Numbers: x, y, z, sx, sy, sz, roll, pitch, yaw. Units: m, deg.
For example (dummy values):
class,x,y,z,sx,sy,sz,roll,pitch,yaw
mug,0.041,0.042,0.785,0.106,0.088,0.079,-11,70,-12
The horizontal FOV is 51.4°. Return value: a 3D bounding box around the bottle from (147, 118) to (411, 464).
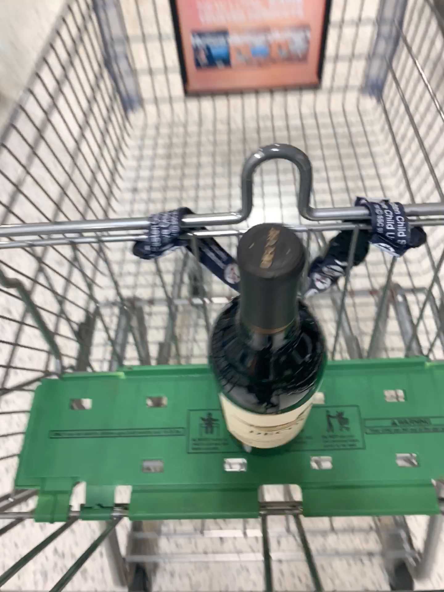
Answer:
class,x,y,z,sx,sy,sz,roll,pitch,yaw
bottle,0.029,0.036,0.325,0.090,0.298,0.090,-2,61,4
